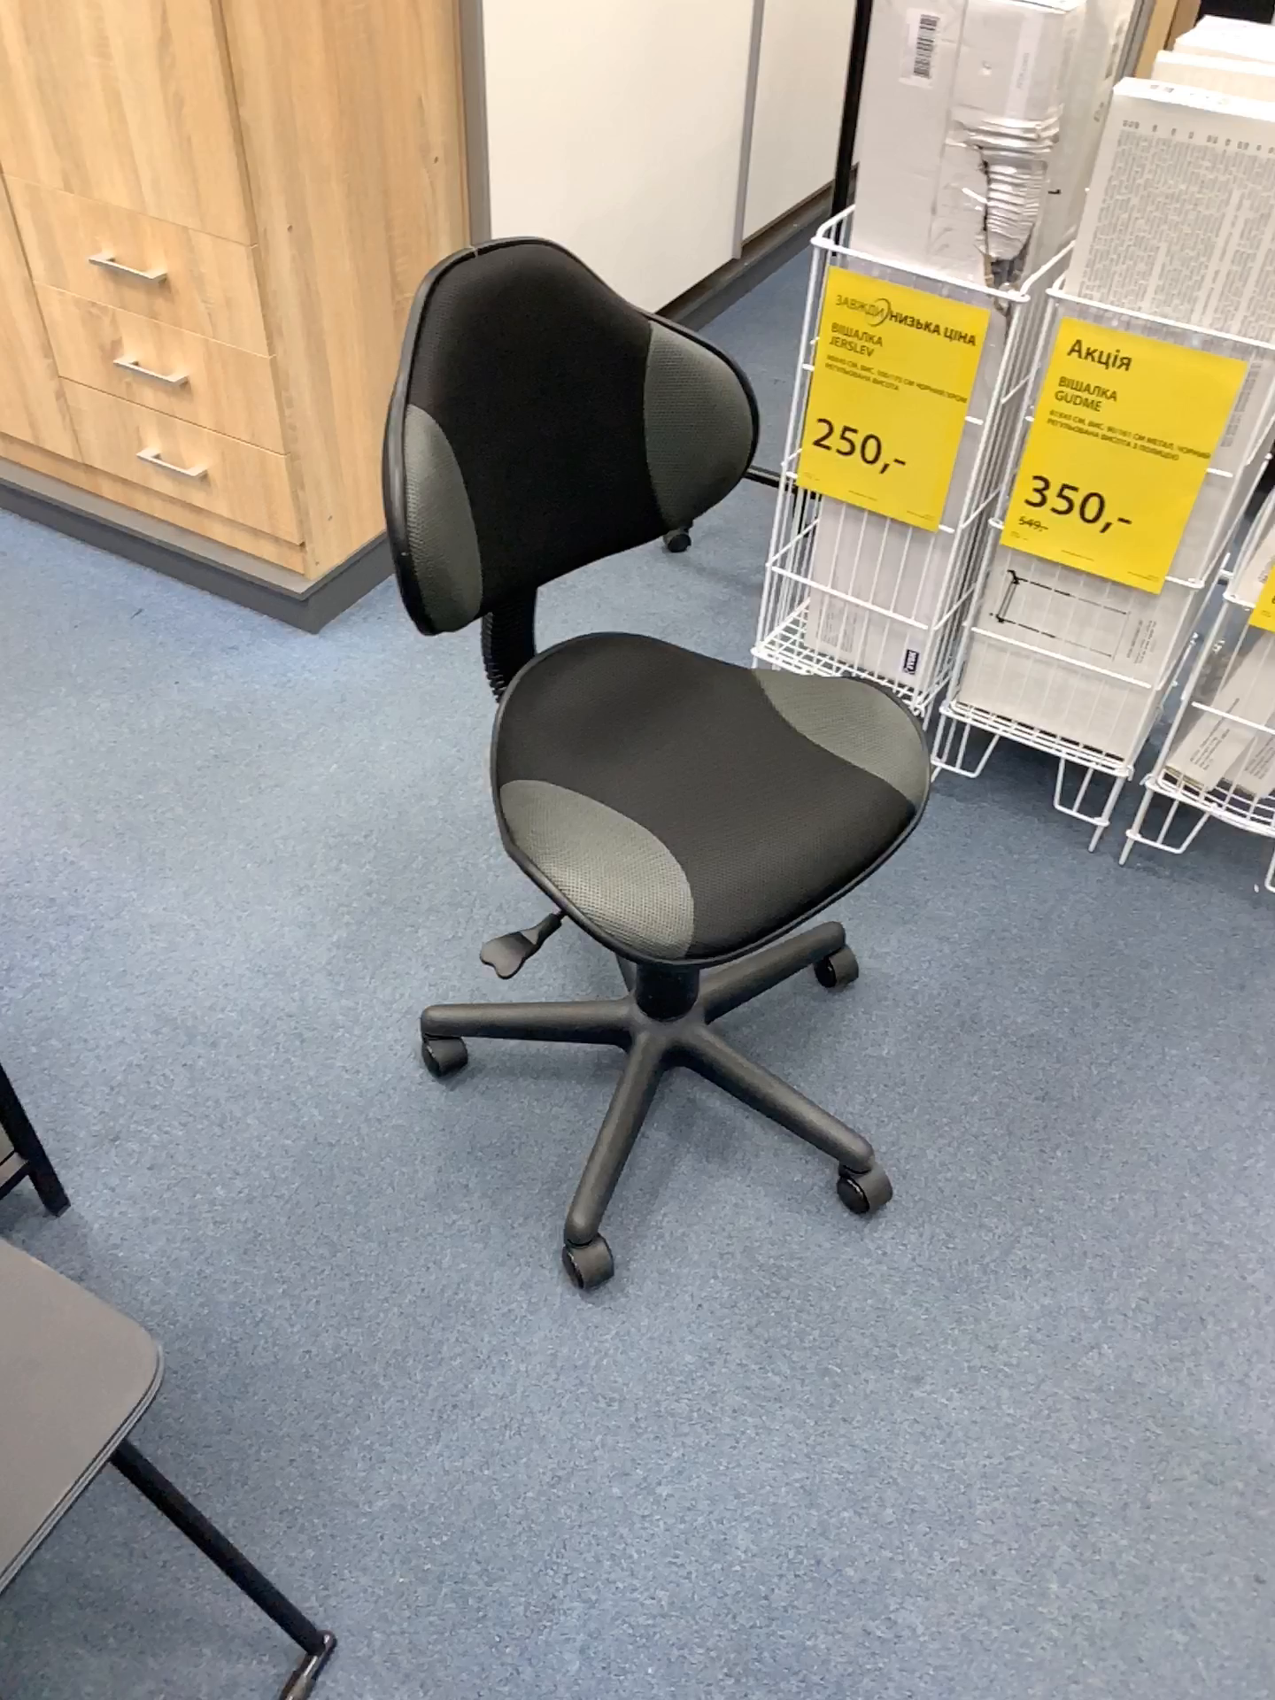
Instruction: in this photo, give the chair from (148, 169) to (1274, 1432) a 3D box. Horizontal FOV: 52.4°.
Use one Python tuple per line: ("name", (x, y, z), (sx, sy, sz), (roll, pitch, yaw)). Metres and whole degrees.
("chair", (0.052, -0.057, 1.345), (0.631, 0.916, 0.692), (-31, 54, -30))
